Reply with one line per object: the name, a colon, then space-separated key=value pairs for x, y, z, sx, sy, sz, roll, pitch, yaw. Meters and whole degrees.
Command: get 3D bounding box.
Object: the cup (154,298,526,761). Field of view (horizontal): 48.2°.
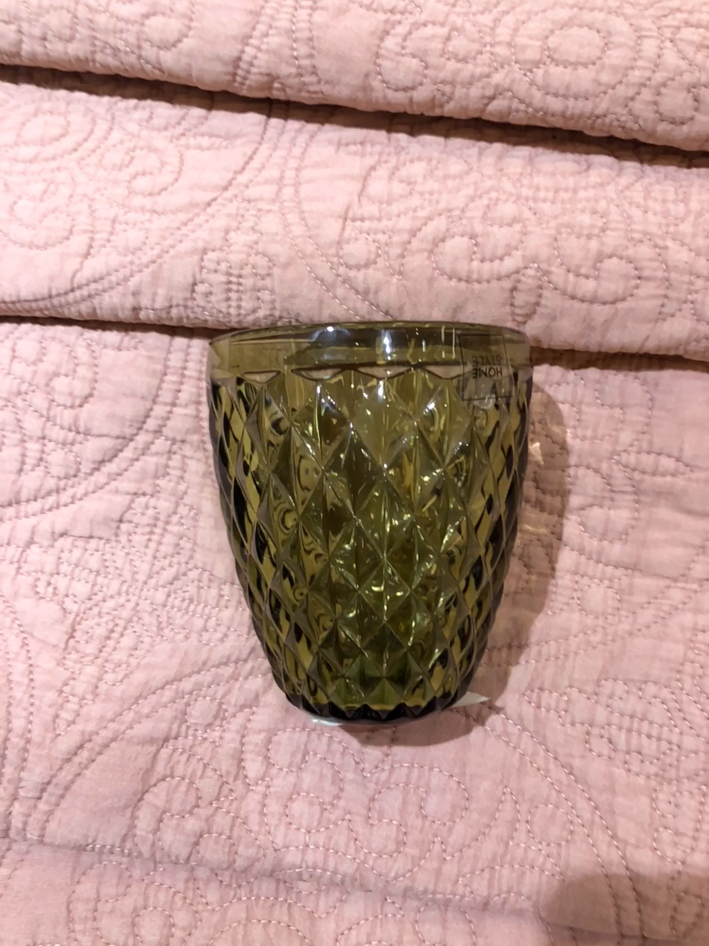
cup: x=0.001 y=0.010 z=0.209 sx=0.080 sy=0.070 sz=0.100 roll=0 pitch=96 yaw=8
